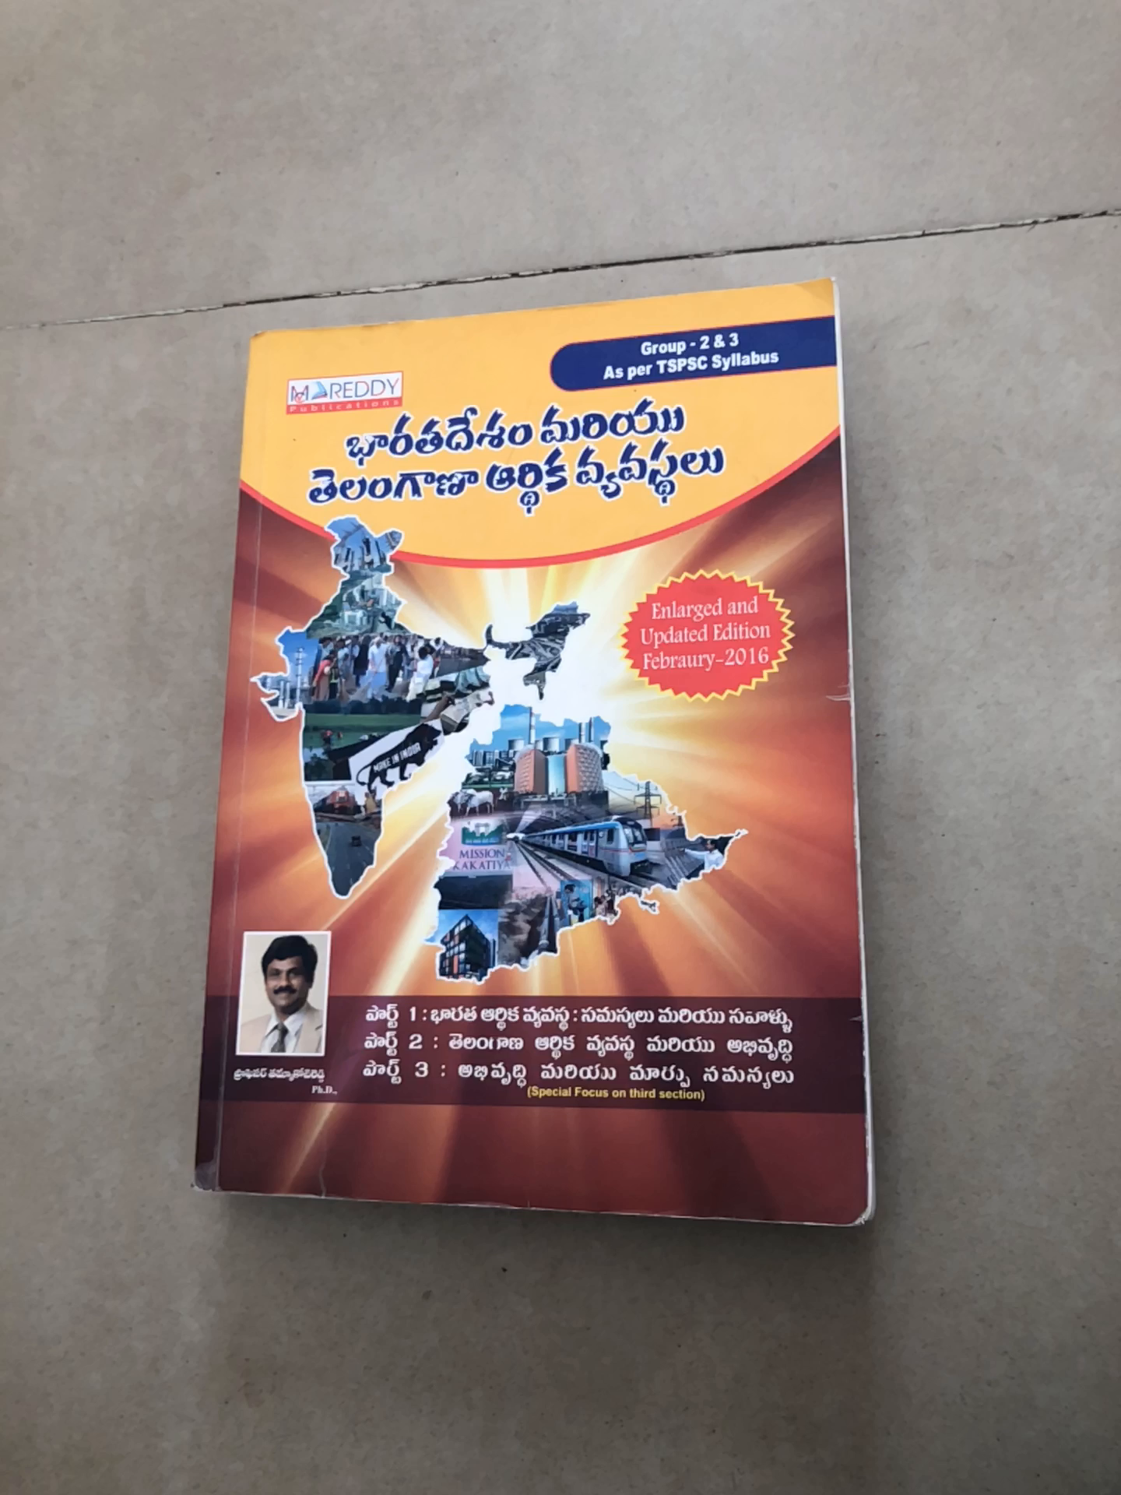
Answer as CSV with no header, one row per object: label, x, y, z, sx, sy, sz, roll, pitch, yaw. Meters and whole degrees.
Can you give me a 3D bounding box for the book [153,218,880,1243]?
book,-0.013,-0.011,0.362,0.190,0.030,0.280,-2,77,11
